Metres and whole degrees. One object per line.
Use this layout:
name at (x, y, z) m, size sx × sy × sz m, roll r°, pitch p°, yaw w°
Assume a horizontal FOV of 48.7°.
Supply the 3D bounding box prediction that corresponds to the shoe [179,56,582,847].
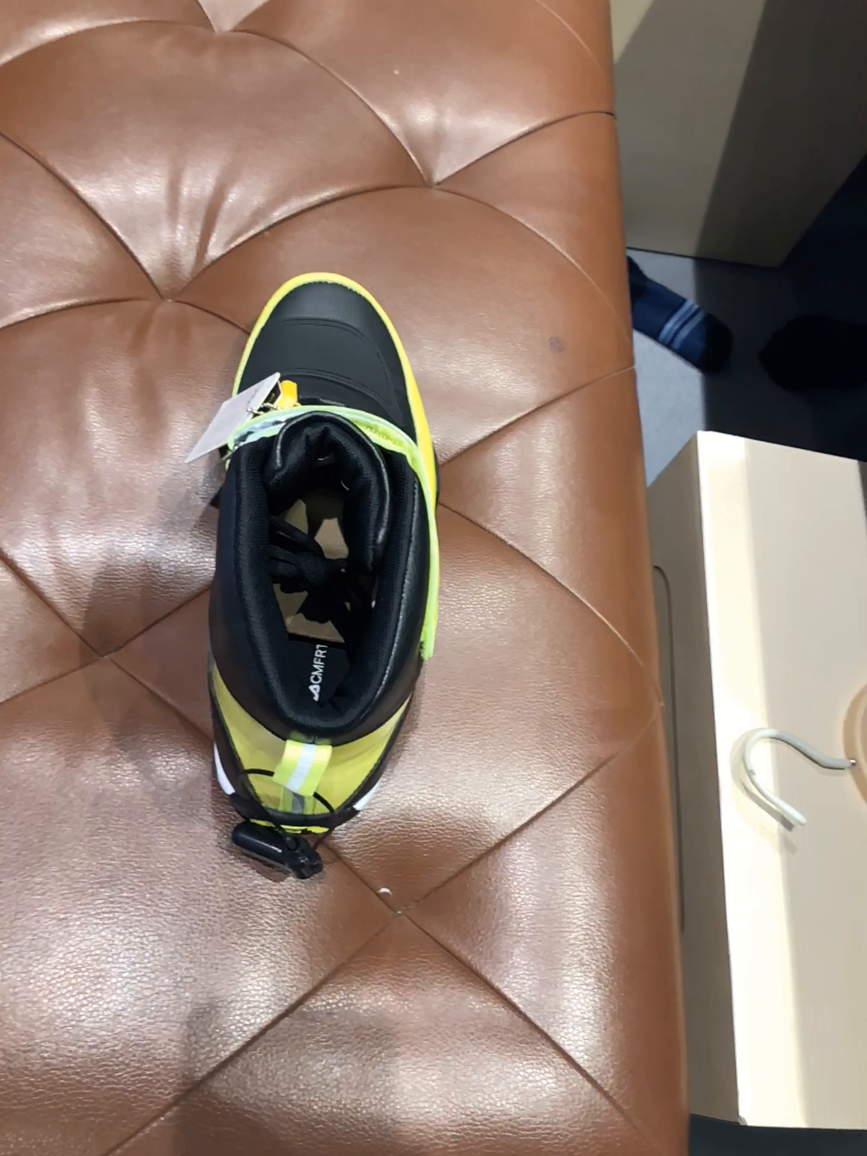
shoe at (-0.033, -0.041, 0.407) m, size 0.116 × 0.172 × 0.275 m, roll 4°, pitch 65°, yaw -12°
